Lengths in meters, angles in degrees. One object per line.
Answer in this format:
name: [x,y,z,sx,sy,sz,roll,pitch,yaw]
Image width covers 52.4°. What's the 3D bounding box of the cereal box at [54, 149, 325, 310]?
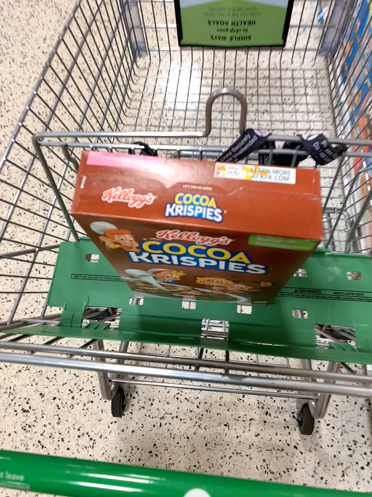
cereal box: [0.014,0.005,0.433,0.200,0.309,0.060,5,72,6]
